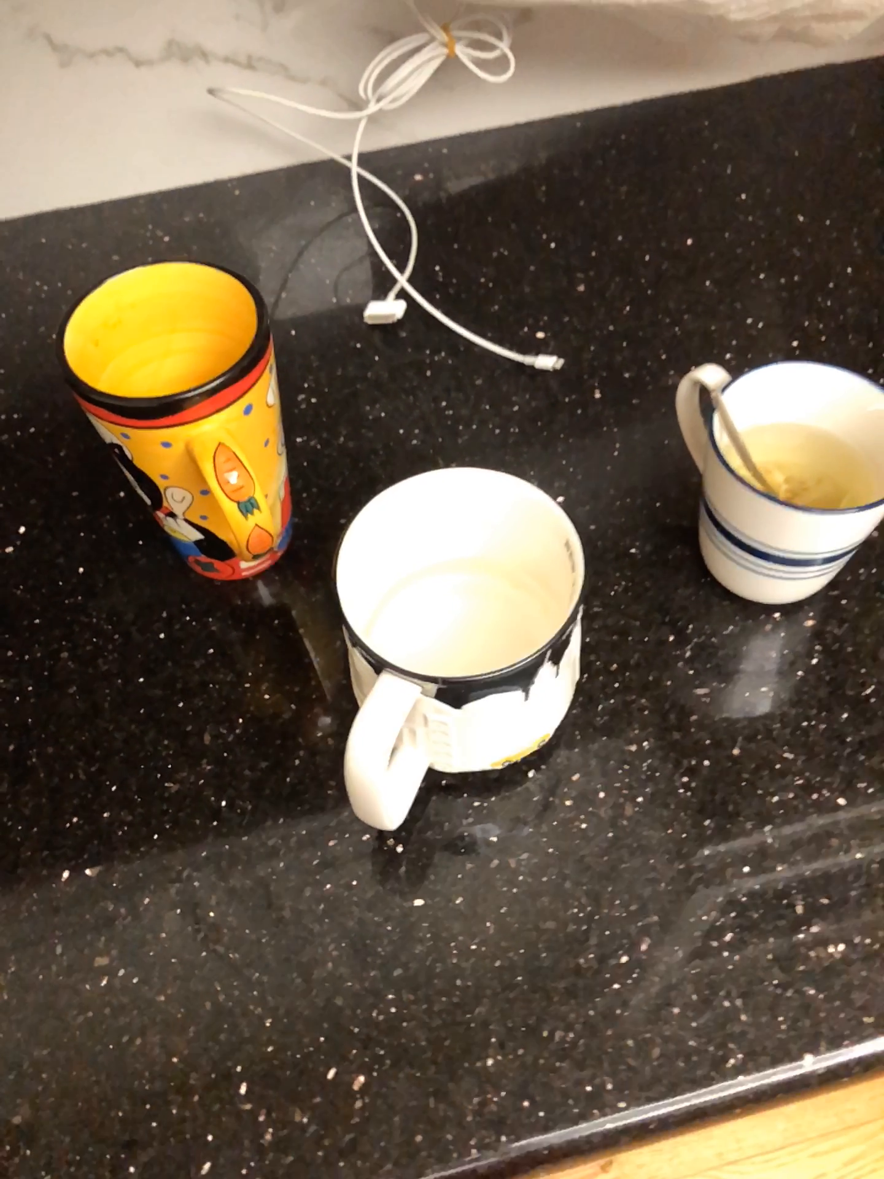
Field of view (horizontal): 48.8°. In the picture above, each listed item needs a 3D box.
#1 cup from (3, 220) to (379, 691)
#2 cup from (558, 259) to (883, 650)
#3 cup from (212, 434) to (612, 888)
[{"bbox_3d":[-0.107,-0.059,0.440,0.090,0.129,0.140,-27,59,-15],"label":"cup"},{"bbox_3d":[0.133,-0.063,0.446,0.090,0.090,0.130,-34,61,-18],"label":"cup"},{"bbox_3d":[-0.005,0.028,0.413,0.110,0.090,0.140,16,58,14],"label":"cup"}]
